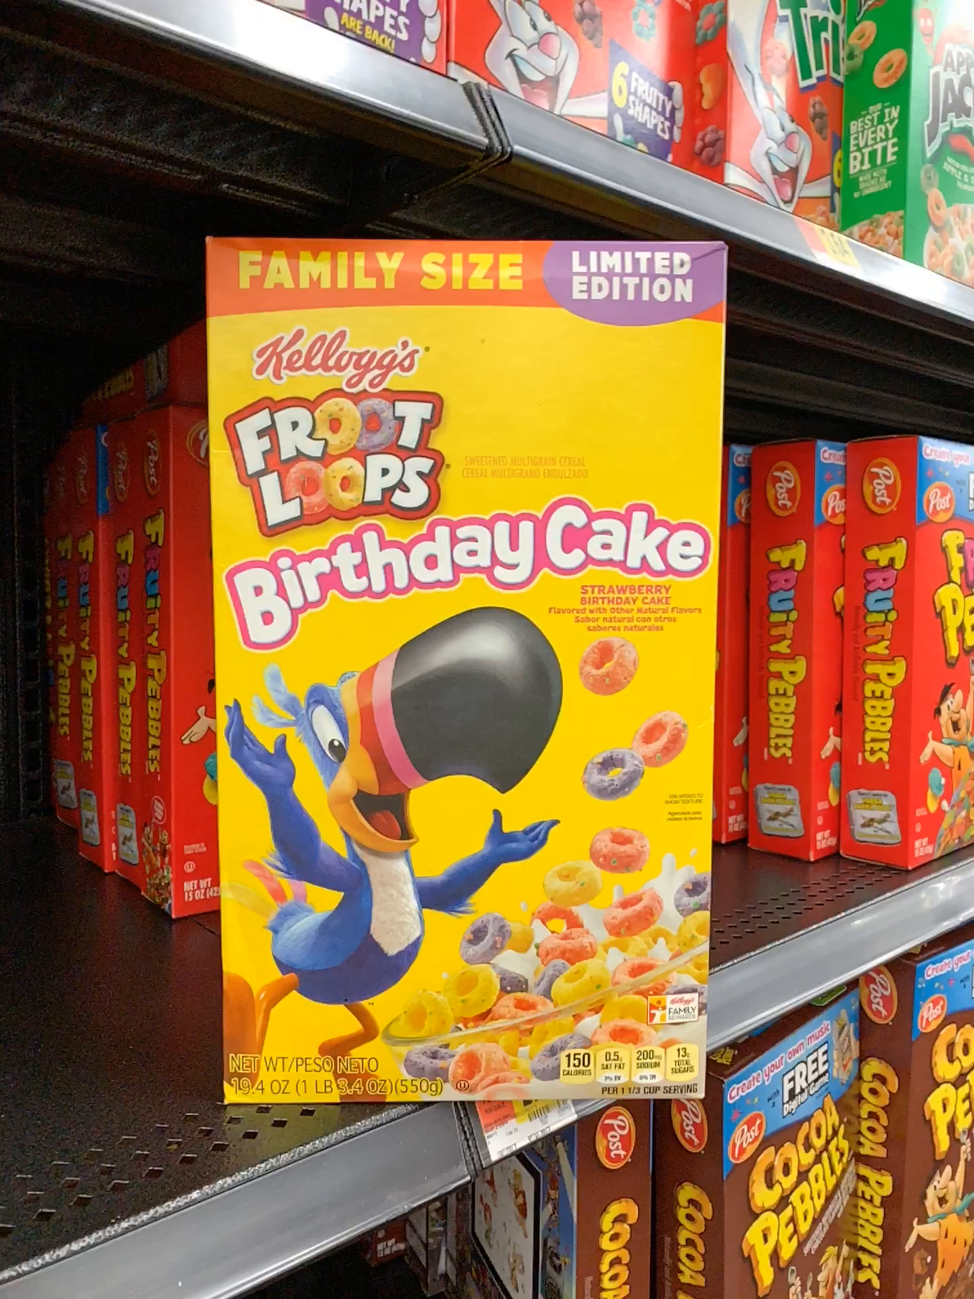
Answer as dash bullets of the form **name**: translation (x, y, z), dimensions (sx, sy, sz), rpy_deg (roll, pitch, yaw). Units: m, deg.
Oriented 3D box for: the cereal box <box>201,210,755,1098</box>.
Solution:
- **cereal box**: translation (-0.007, 0.005, 0.416), dimensions (0.200, 0.330, 0.080), rpy_deg (1, 4, -3)
